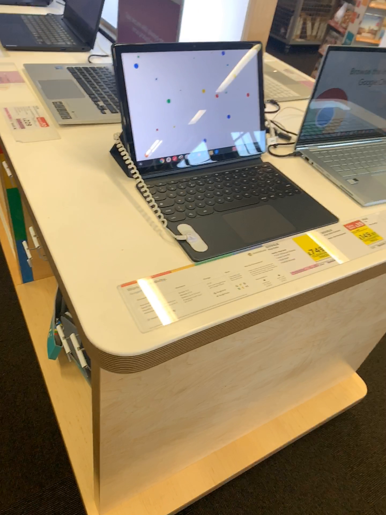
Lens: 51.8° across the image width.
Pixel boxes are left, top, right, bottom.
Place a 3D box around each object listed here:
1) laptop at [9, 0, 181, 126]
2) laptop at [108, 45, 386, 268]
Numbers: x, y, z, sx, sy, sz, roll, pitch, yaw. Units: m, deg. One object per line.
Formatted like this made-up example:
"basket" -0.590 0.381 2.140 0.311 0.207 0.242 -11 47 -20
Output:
"laptop" -0.212 -0.462 0.828 0.233 0.222 0.321 -14 48 -28
"laptop" 0.057 -0.184 0.626 0.286 0.187 0.294 -16 48 -28
